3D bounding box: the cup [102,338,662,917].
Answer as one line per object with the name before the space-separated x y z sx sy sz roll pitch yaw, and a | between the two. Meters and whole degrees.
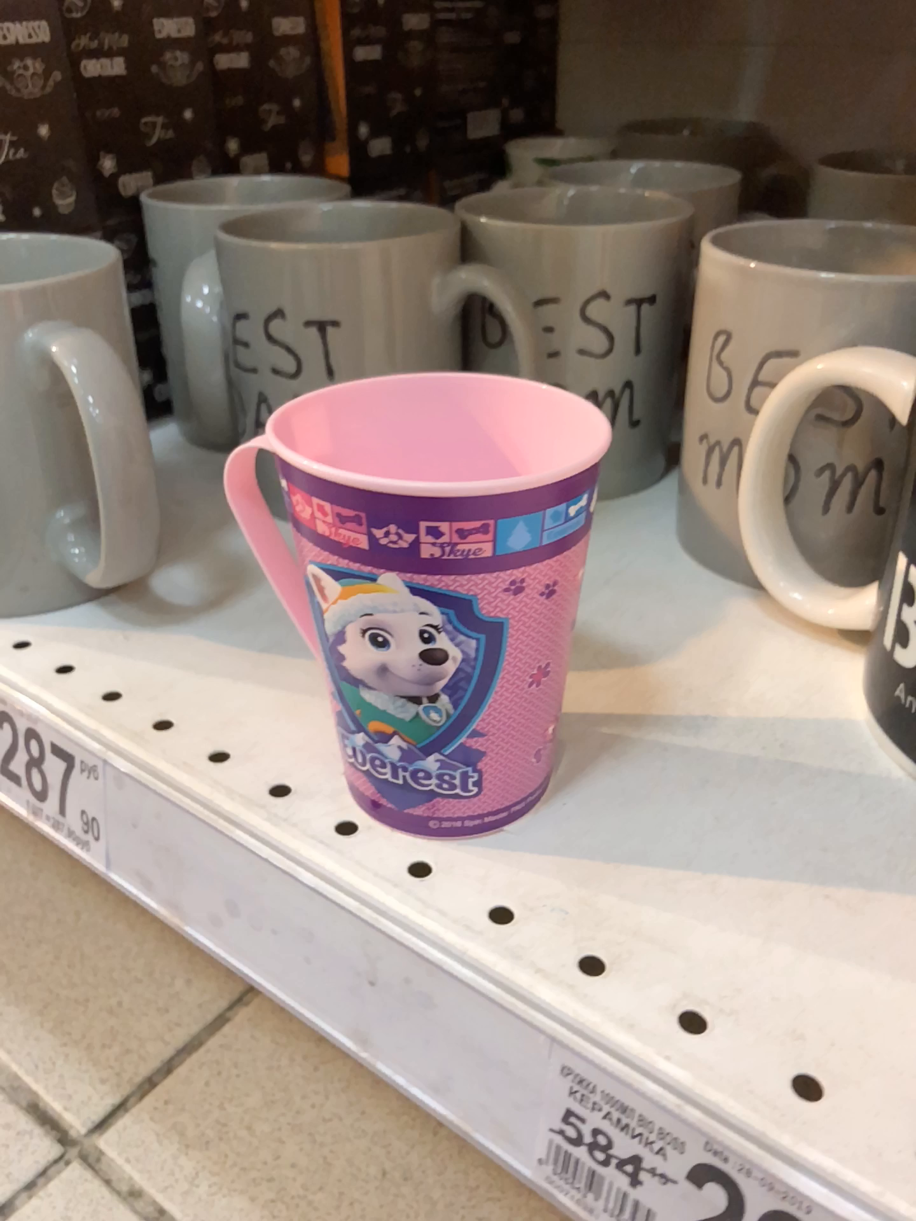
cup | -0.016 -0.003 0.269 0.108 0.104 0.078 16 33 25
